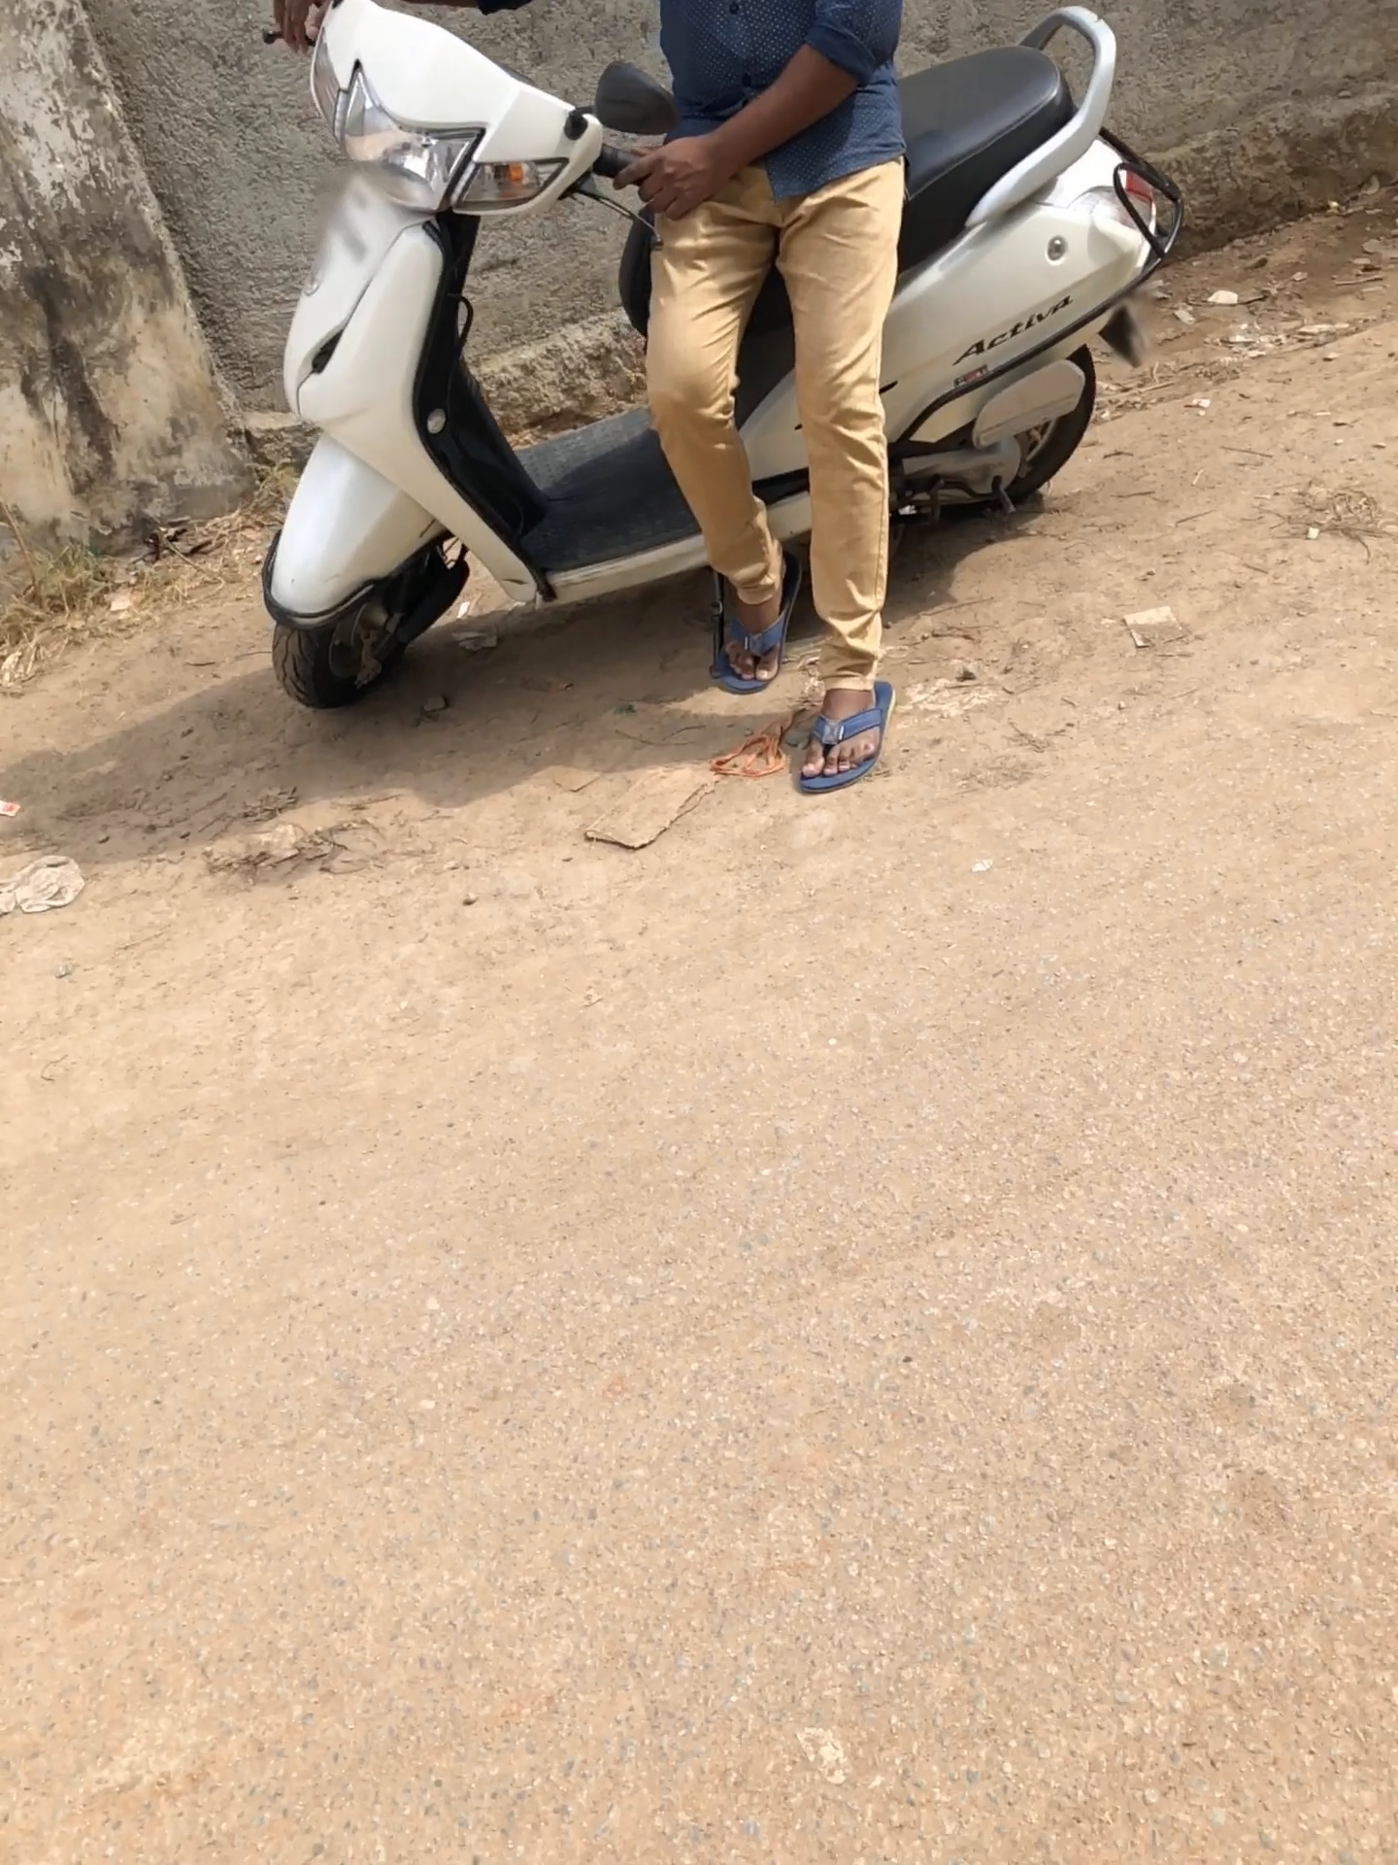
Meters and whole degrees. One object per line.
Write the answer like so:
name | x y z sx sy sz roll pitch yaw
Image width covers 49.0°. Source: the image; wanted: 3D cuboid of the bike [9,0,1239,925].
bike | -0.016 -0.928 2.502 1.624 1.140 0.672 -20 37 -7
